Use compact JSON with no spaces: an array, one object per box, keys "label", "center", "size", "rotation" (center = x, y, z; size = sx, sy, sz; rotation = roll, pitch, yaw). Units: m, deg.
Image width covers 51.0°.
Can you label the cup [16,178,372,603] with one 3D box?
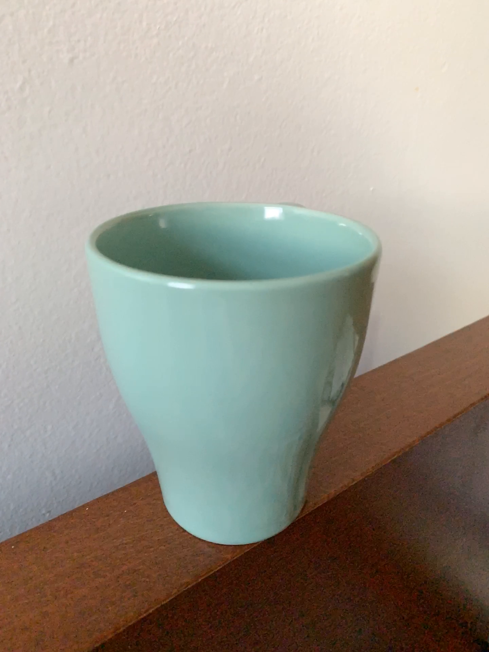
[{"label":"cup","center":[-0.003,0.005,0.187],"size":[0.081,0.091,0.123],"rotation":[9,25,11]}]
